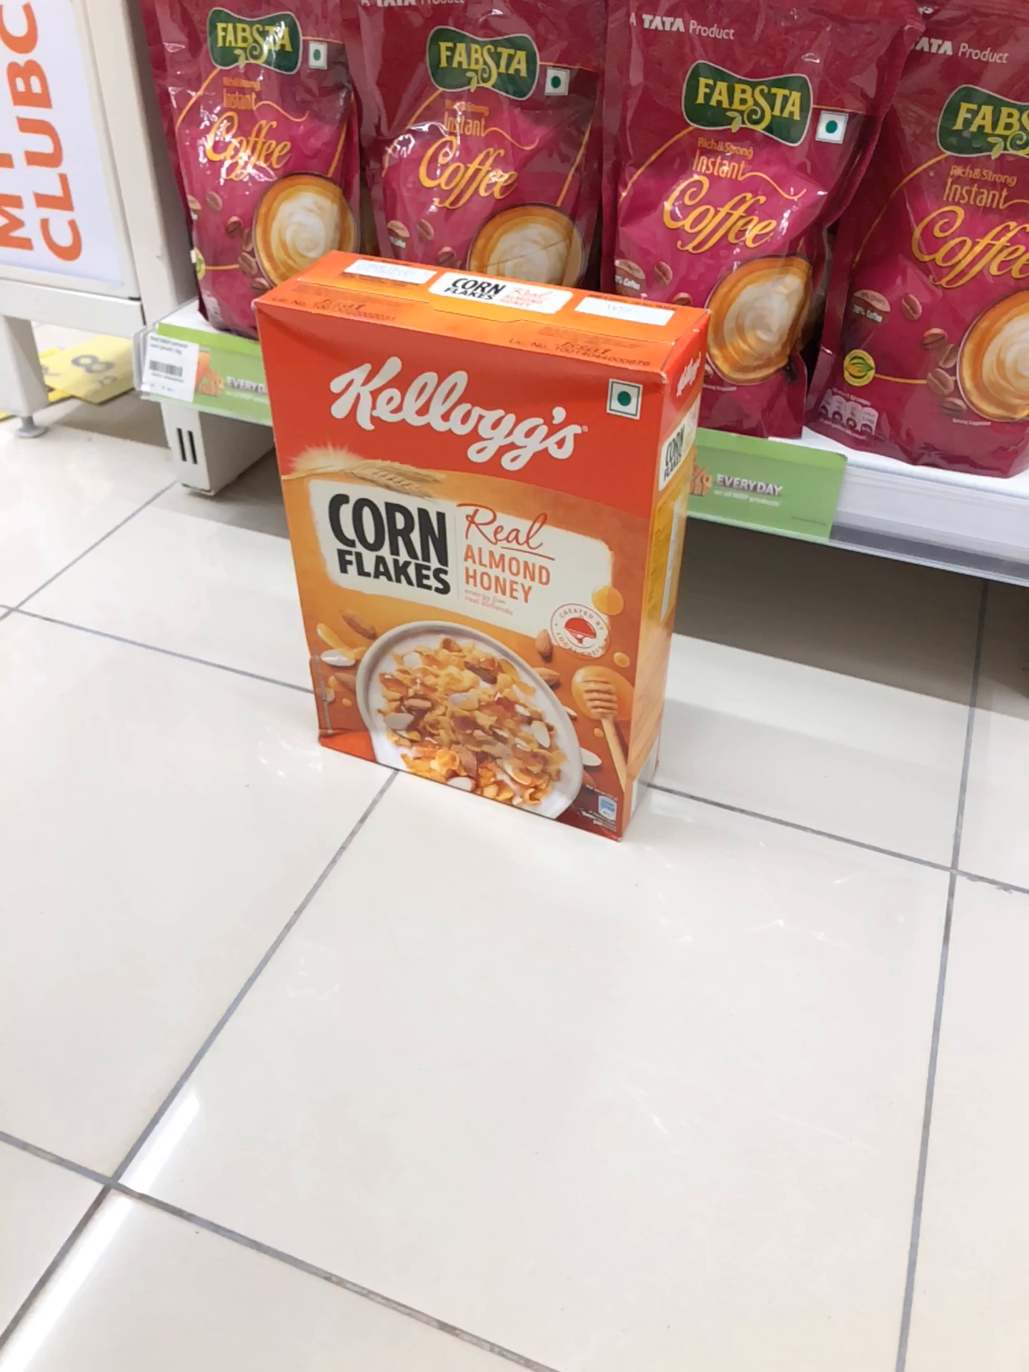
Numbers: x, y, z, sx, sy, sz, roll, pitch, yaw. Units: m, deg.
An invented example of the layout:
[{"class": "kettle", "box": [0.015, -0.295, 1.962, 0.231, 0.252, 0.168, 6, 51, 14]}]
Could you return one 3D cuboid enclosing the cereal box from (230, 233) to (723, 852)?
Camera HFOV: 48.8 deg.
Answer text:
[{"class": "cereal box", "box": [-0.018, -0.067, 0.577, 0.200, 0.268, 0.081, 16, 40, 19]}]
